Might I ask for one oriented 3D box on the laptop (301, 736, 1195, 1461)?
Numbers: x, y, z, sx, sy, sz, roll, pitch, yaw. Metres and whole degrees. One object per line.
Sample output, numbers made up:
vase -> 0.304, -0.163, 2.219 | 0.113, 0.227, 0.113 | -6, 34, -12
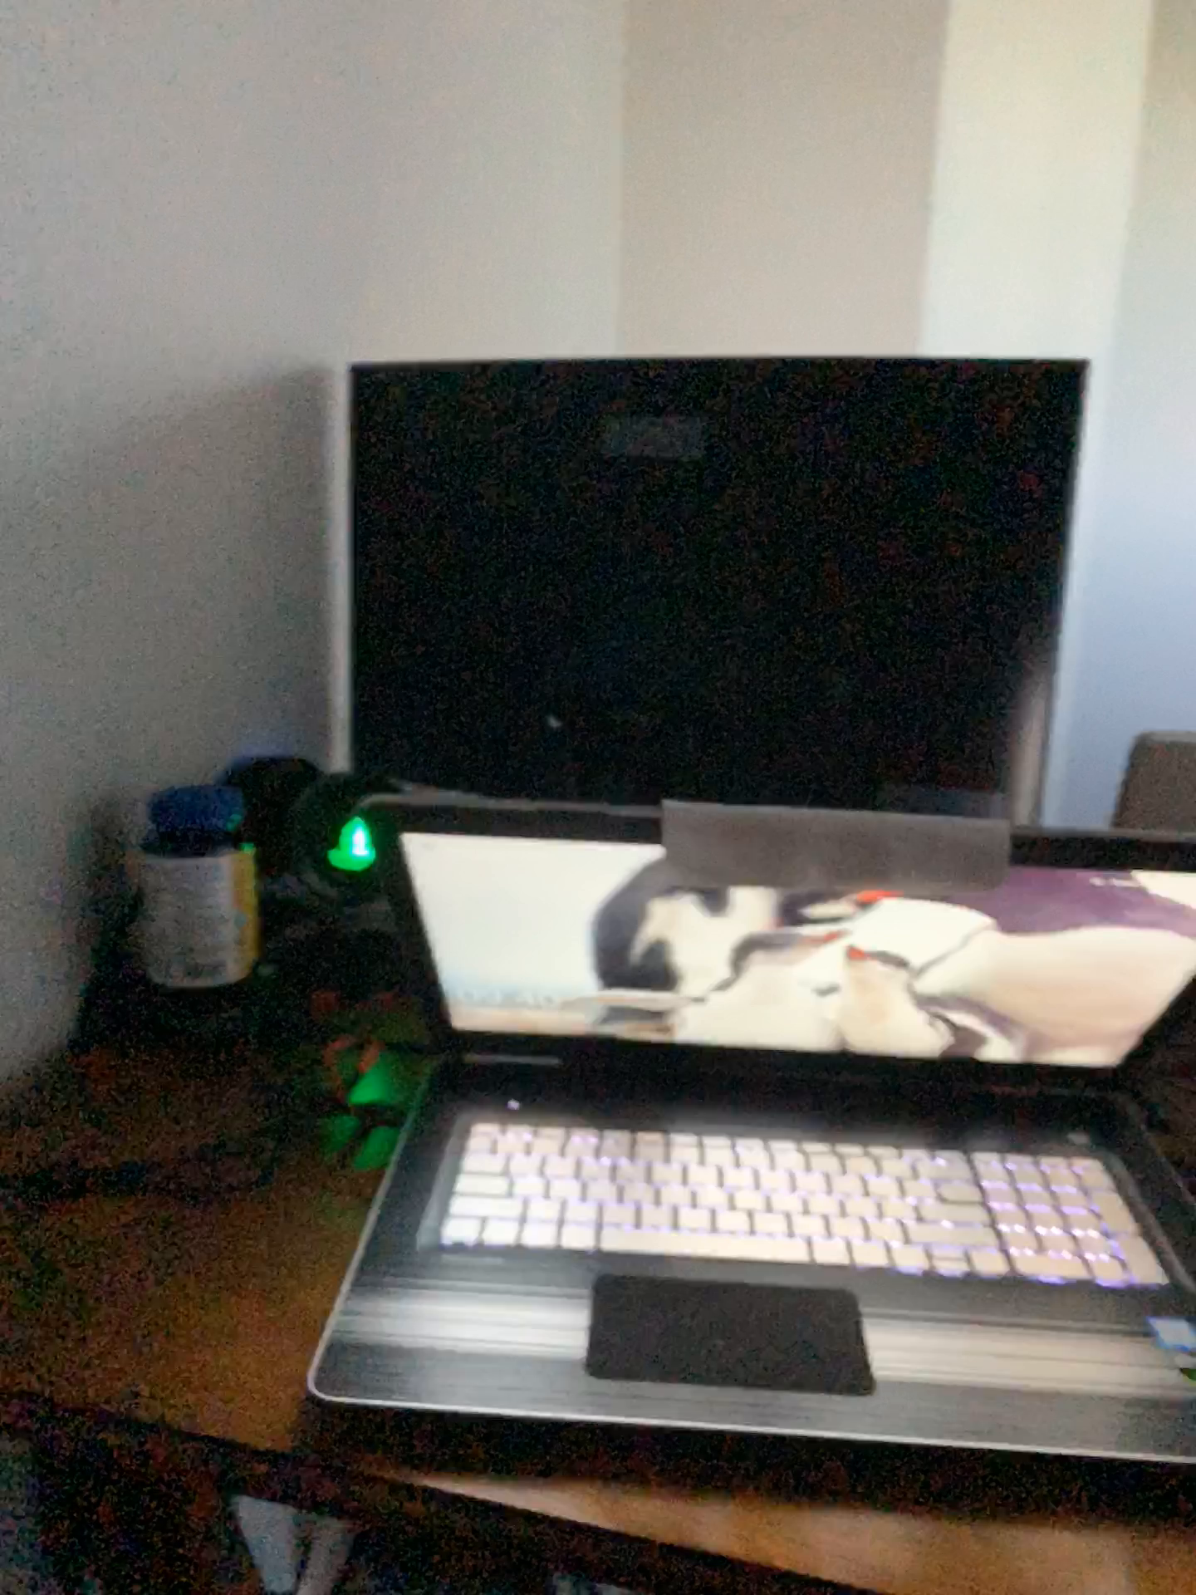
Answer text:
laptop -> 0.096, 0.106, 0.570 | 0.393, 0.187, 0.258 | 3, 16, 2
